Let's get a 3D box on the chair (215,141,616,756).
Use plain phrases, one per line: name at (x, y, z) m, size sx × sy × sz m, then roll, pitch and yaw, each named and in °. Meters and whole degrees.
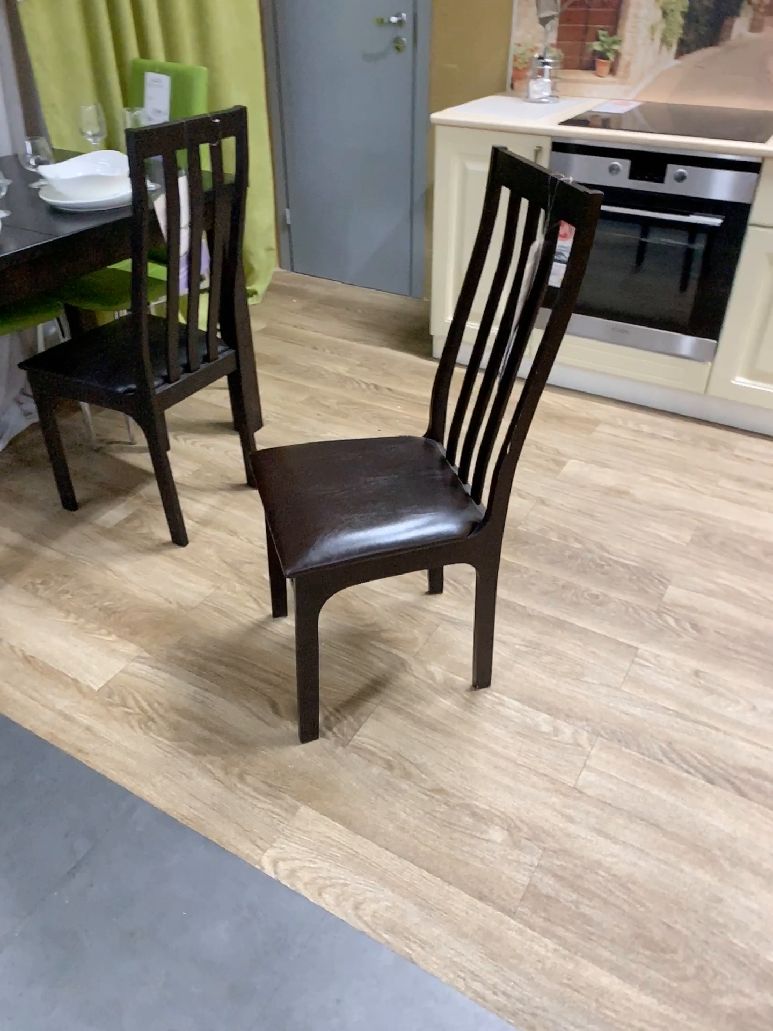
chair at (0.017, -0.100, 1.459) m, size 0.490 × 0.985 × 0.422 m, roll -10°, pitch 36°, yaw -13°
